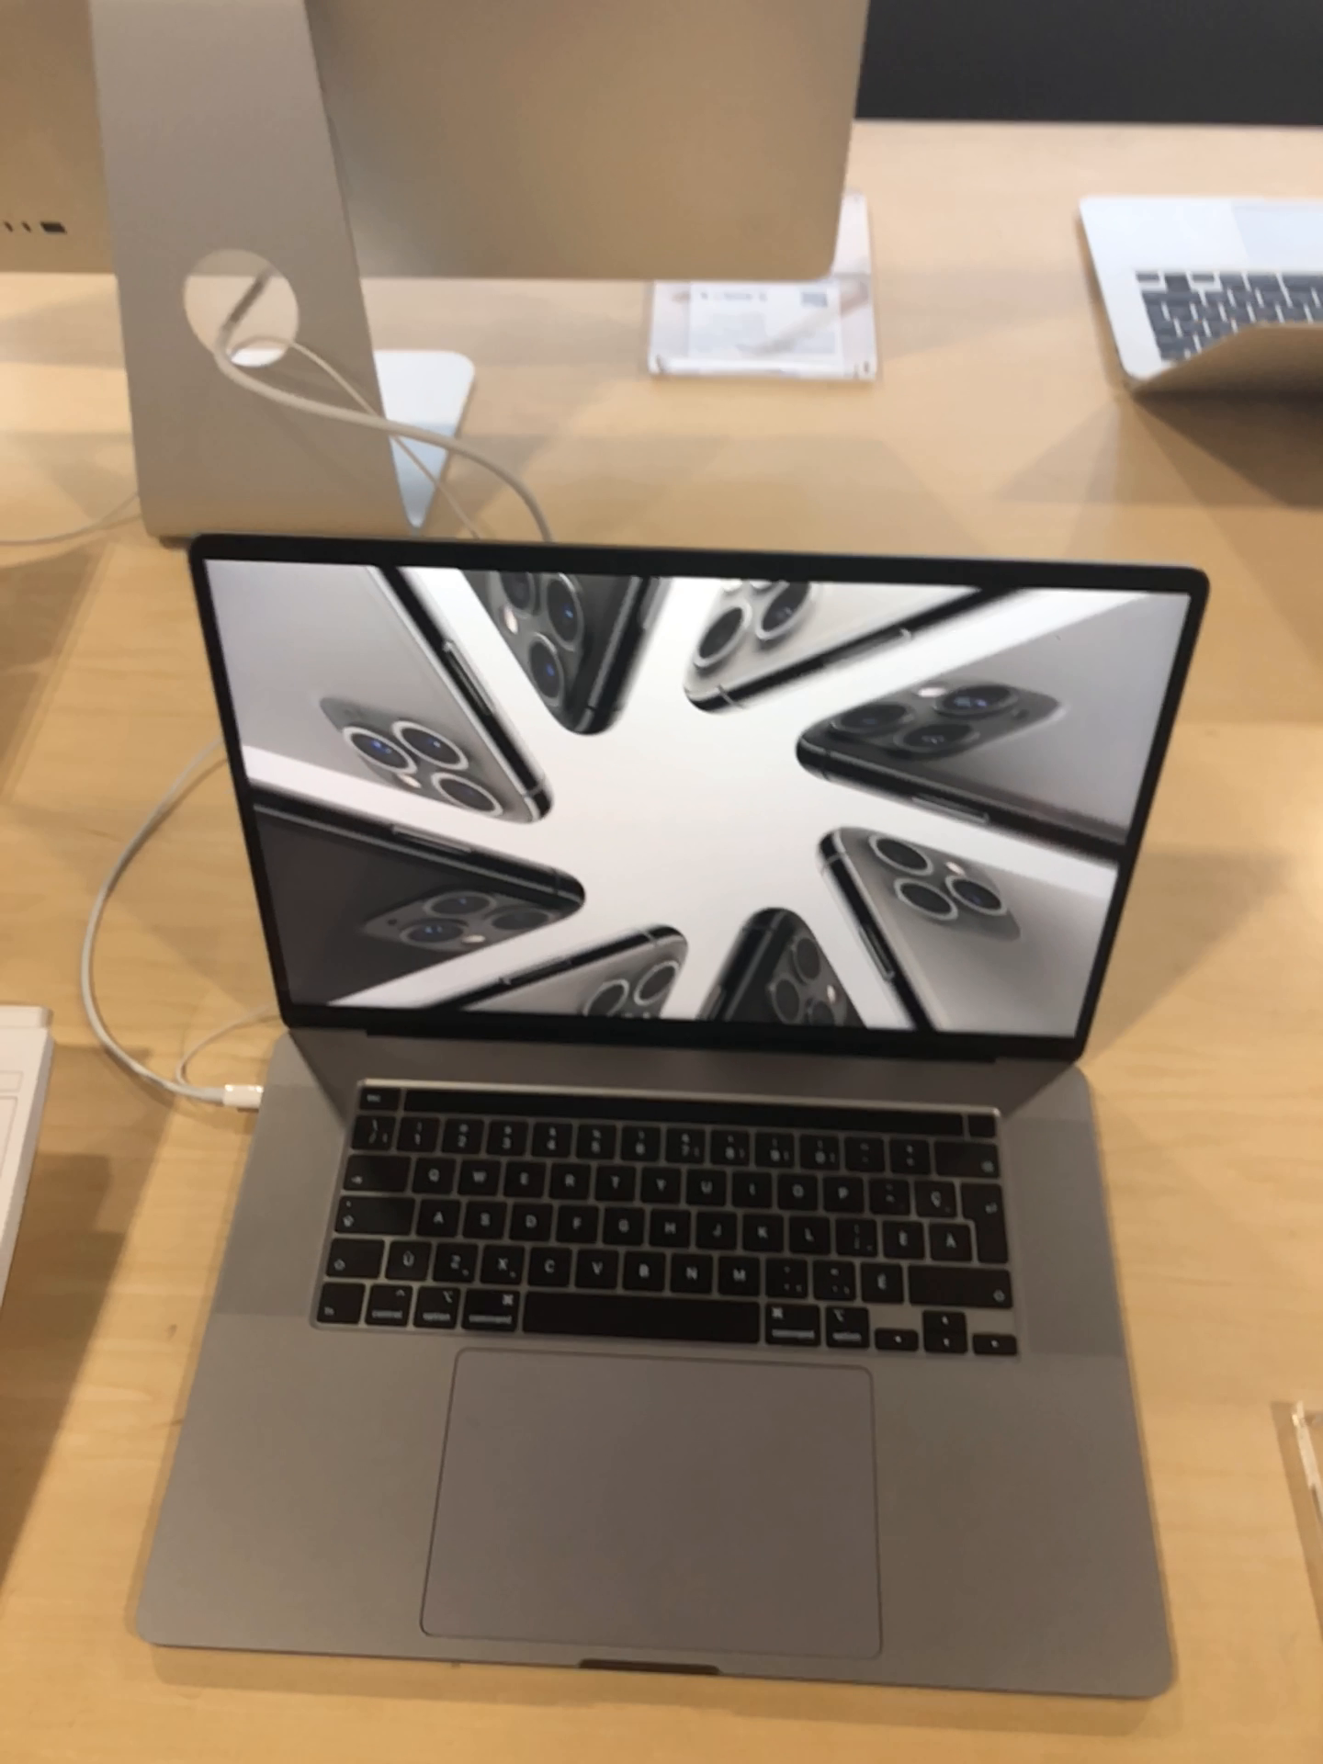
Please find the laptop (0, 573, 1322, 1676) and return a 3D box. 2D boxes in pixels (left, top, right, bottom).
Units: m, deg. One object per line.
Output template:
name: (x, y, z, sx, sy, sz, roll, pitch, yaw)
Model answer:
laptop: (0.005, 0.080, 0.495, 0.343, 0.227, 0.292, 2, 52, 2)
